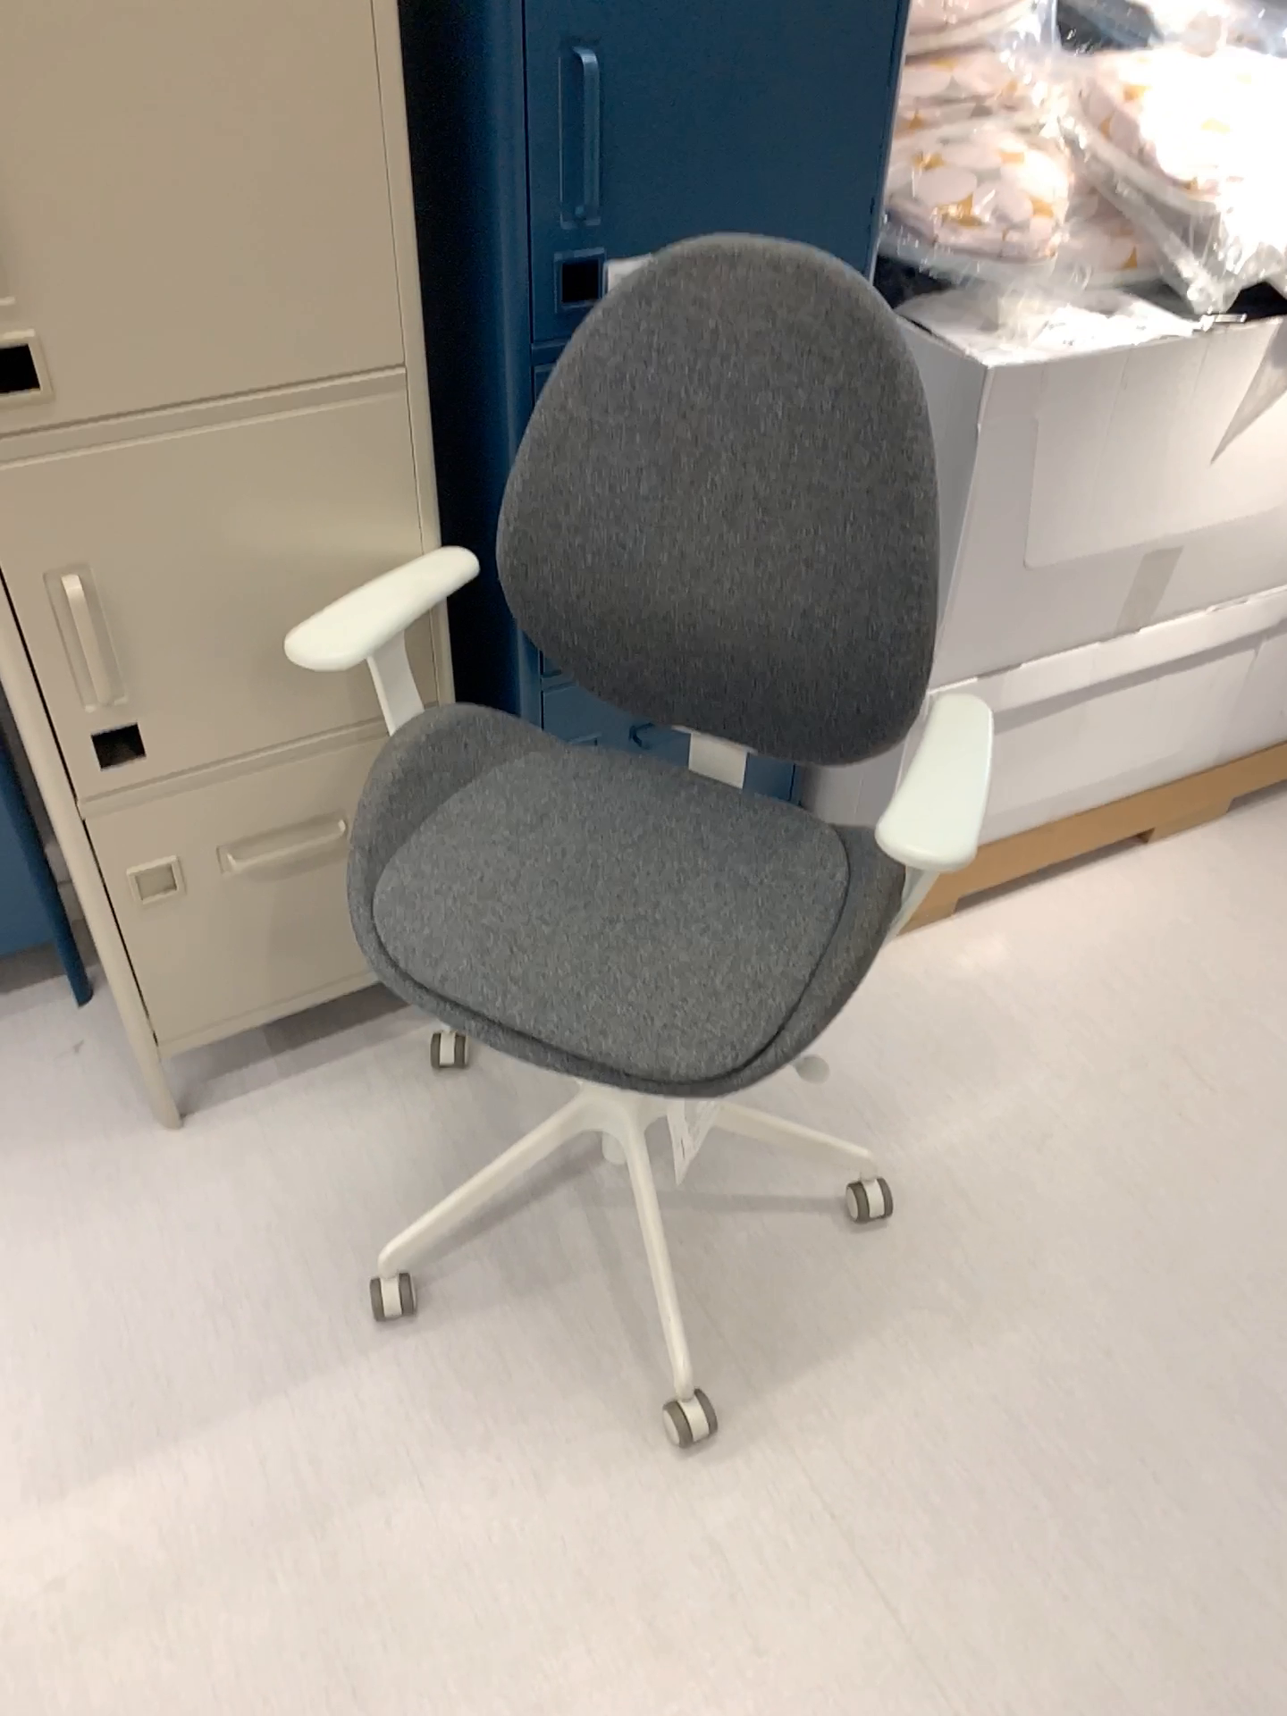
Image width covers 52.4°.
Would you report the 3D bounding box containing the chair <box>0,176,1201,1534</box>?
[{"bbox_3d":[0.010,-0.001,1.294,0.650,0.996,0.672,19,45,18],"label":"chair"}]
